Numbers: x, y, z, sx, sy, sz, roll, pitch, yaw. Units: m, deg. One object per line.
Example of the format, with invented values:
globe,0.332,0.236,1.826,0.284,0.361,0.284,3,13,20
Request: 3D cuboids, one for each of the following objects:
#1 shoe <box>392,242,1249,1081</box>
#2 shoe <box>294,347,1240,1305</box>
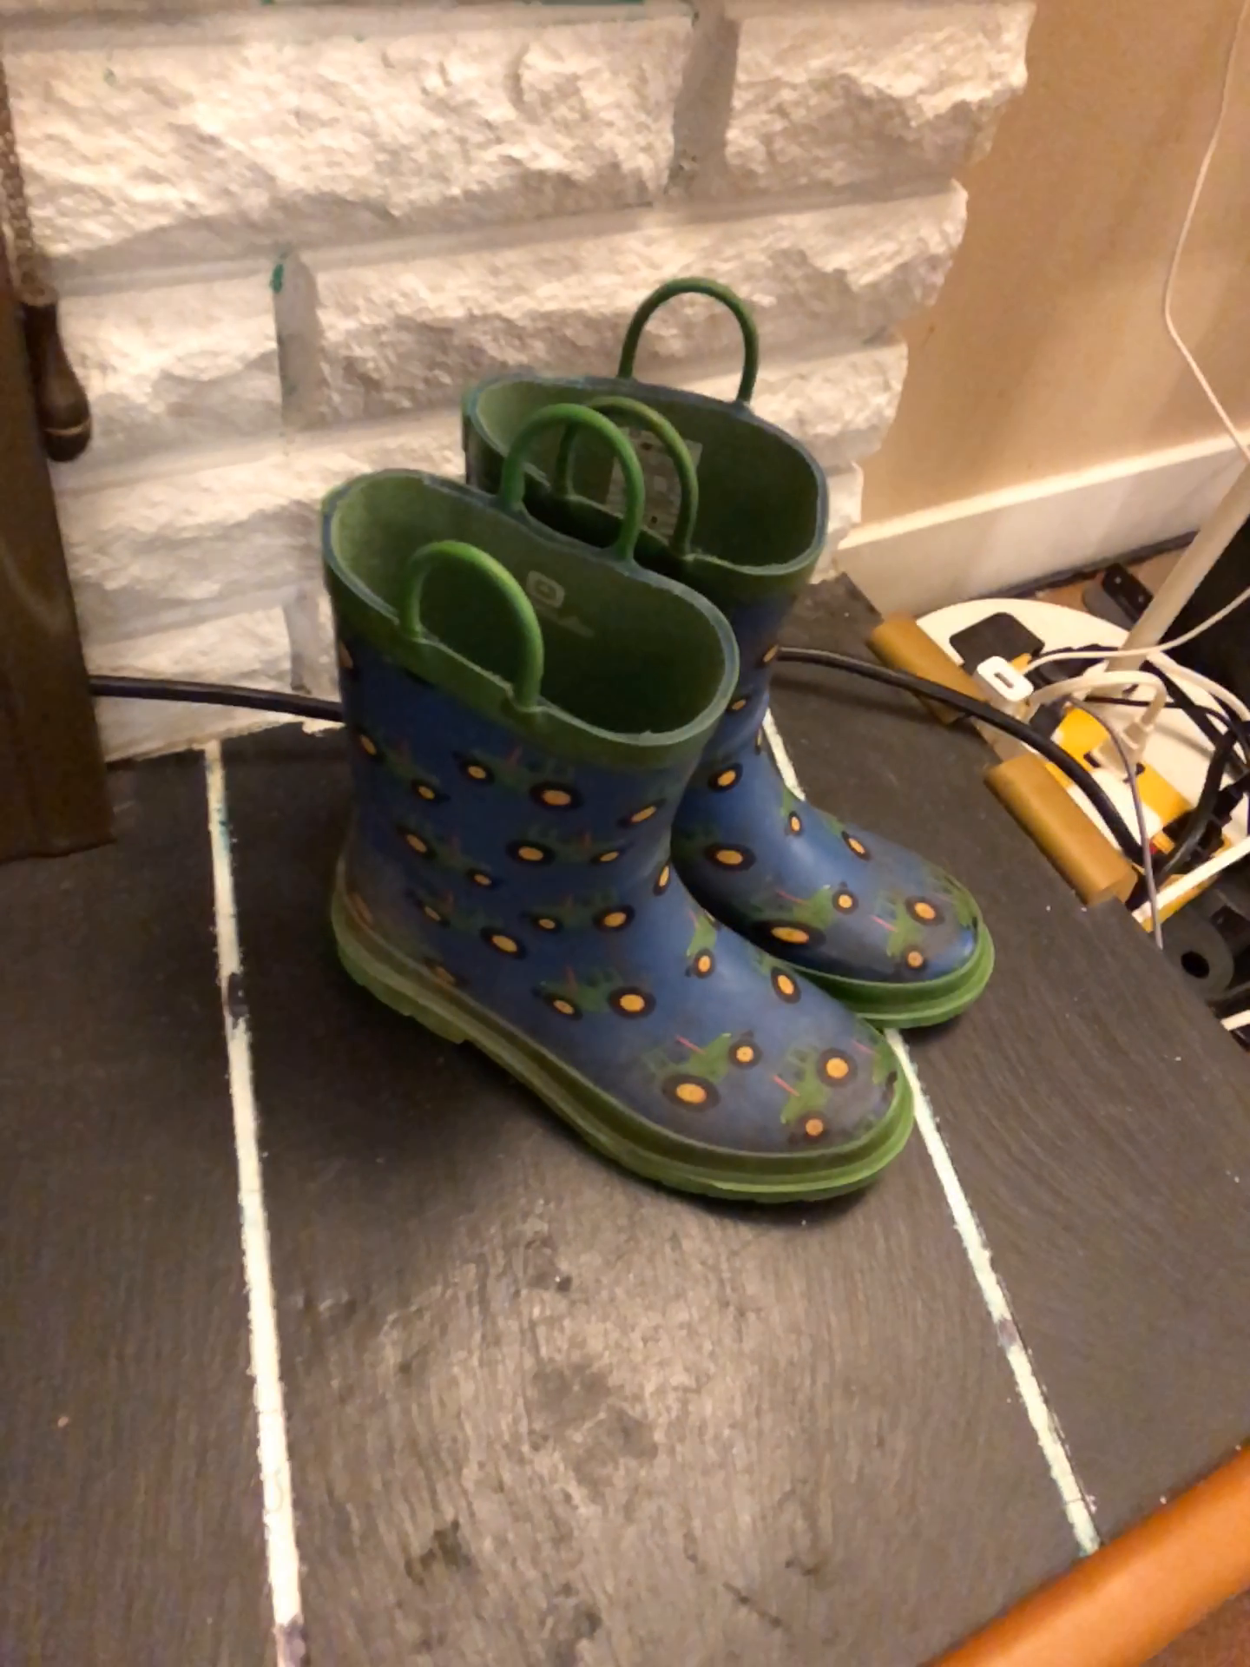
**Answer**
shoe,0.053,-0.044,0.483,0.240,0.229,0.101,18,51,2
shoe,0.021,0.013,0.443,0.230,0.239,0.101,27,52,9
